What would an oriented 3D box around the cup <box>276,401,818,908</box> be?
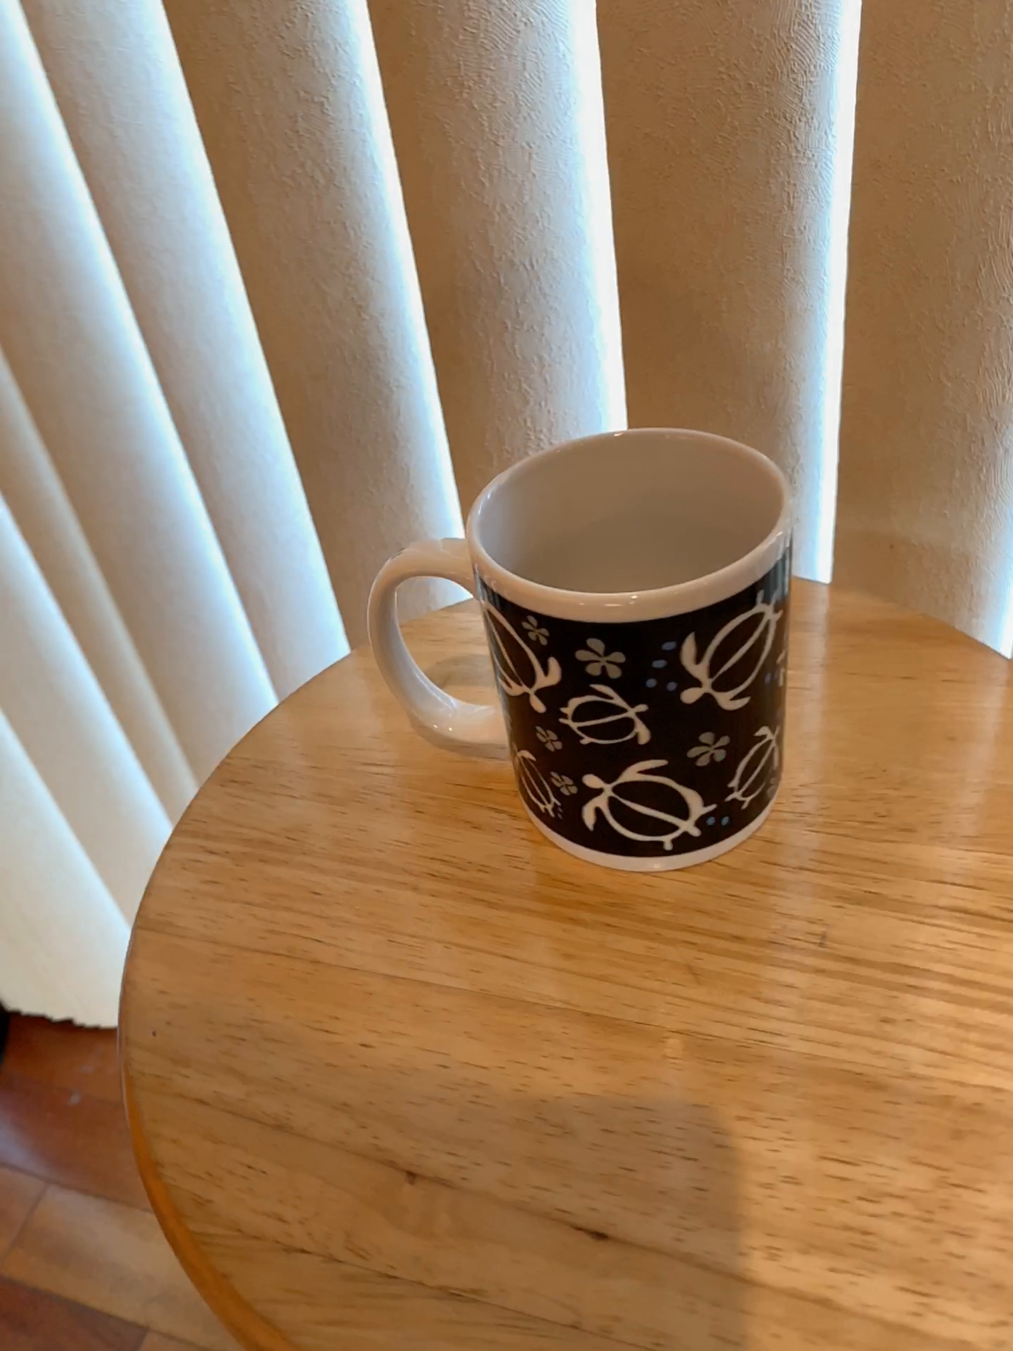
[{"bbox_3d":[0.020,-0.012,0.306,0.120,0.099,0.090,8,42,21],"label":"cup"}]
